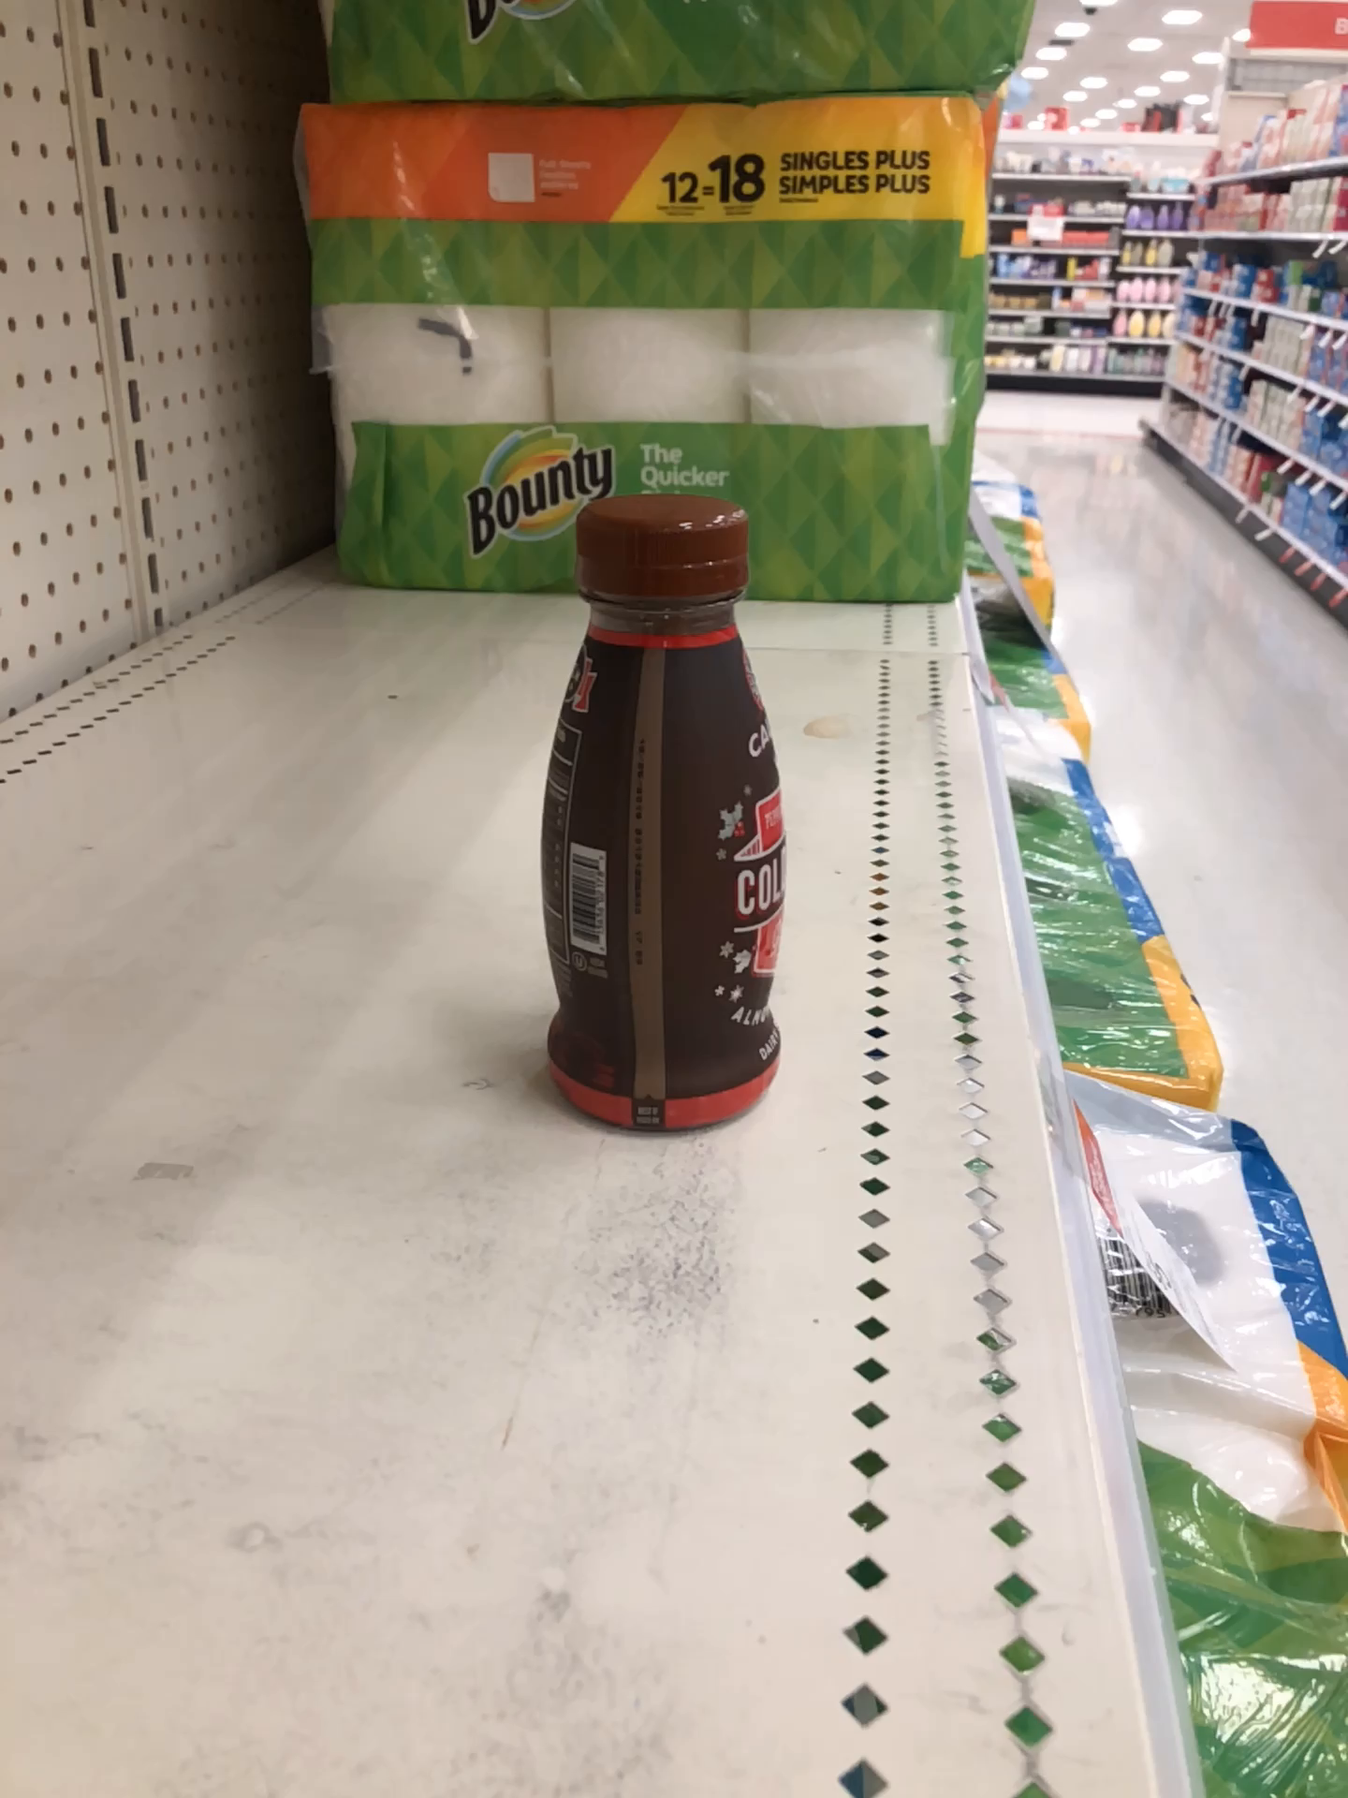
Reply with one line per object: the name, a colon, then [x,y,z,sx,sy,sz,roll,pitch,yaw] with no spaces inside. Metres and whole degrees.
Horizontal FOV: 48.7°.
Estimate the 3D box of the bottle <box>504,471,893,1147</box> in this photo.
bottle: [0.007,-0.025,0.377,0.080,0.149,0.070,5,24,9]
